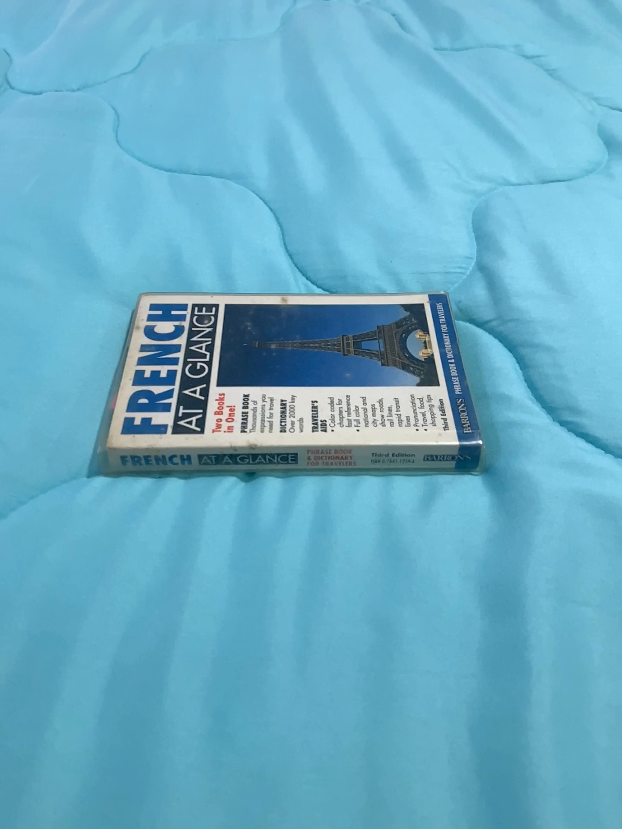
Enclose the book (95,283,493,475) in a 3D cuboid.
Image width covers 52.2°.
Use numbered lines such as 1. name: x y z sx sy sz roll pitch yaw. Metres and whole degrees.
1. book: -0.007 -0.020 0.283 0.154 0.017 0.099 -1 50 -2
